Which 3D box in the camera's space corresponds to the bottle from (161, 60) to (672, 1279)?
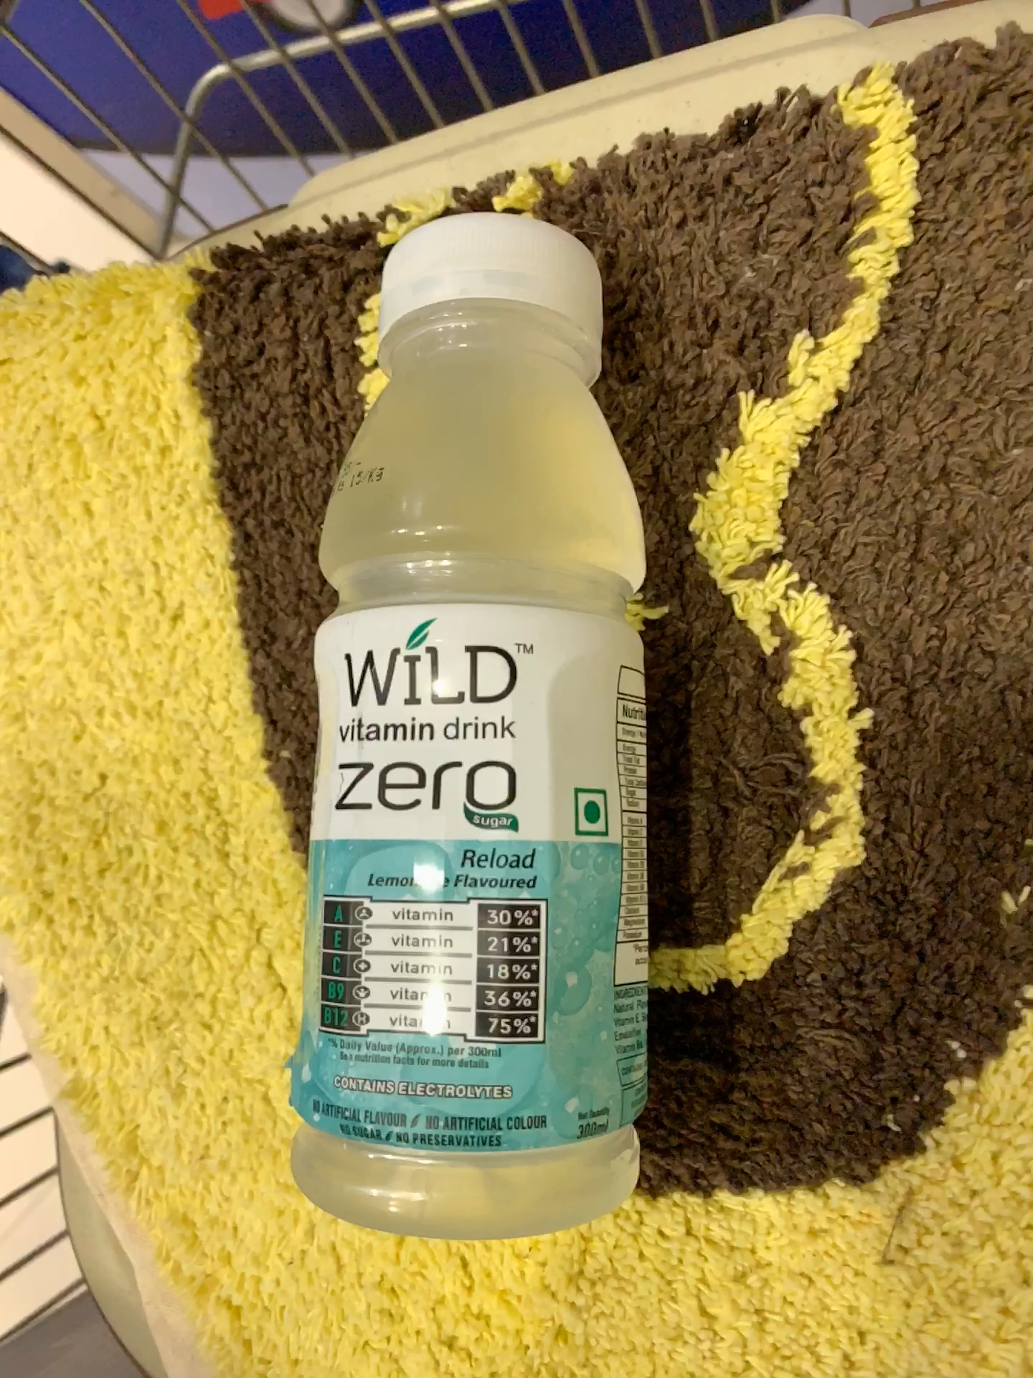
[{"bbox_3d":[-0.011,-0.006,0.169,0.060,0.040,0.160,-2,80,23],"label":"bottle"}]
